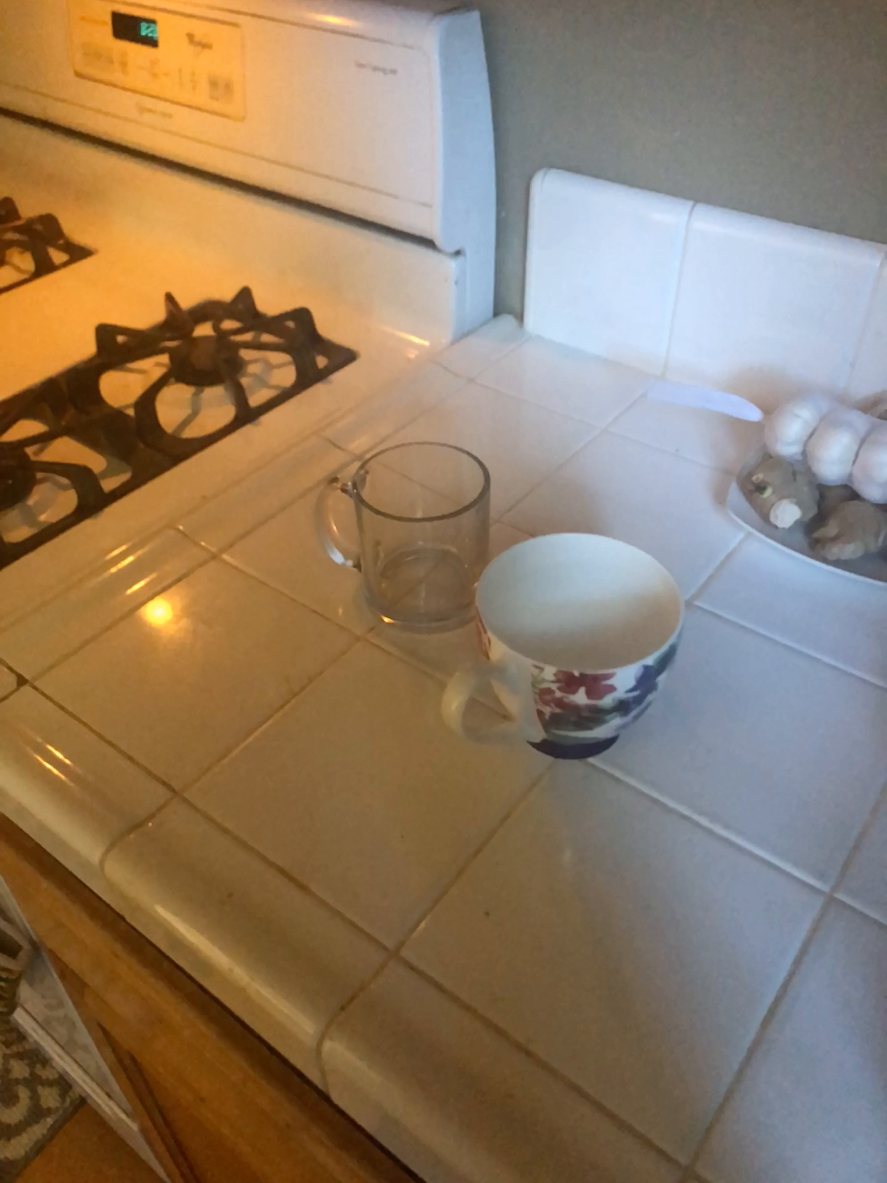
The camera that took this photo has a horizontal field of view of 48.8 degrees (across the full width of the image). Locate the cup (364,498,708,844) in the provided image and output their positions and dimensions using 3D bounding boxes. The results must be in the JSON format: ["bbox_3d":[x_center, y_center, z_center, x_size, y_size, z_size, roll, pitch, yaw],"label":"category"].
[{"bbox_3d":[0.049,0.035,0.523,0.110,0.079,0.141,32,51,32],"label":"cup"}]

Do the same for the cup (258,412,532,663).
[{"bbox_3d":[-0.027,-0.038,0.608,0.130,0.079,0.101,19,46,21],"label":"cup"}]
